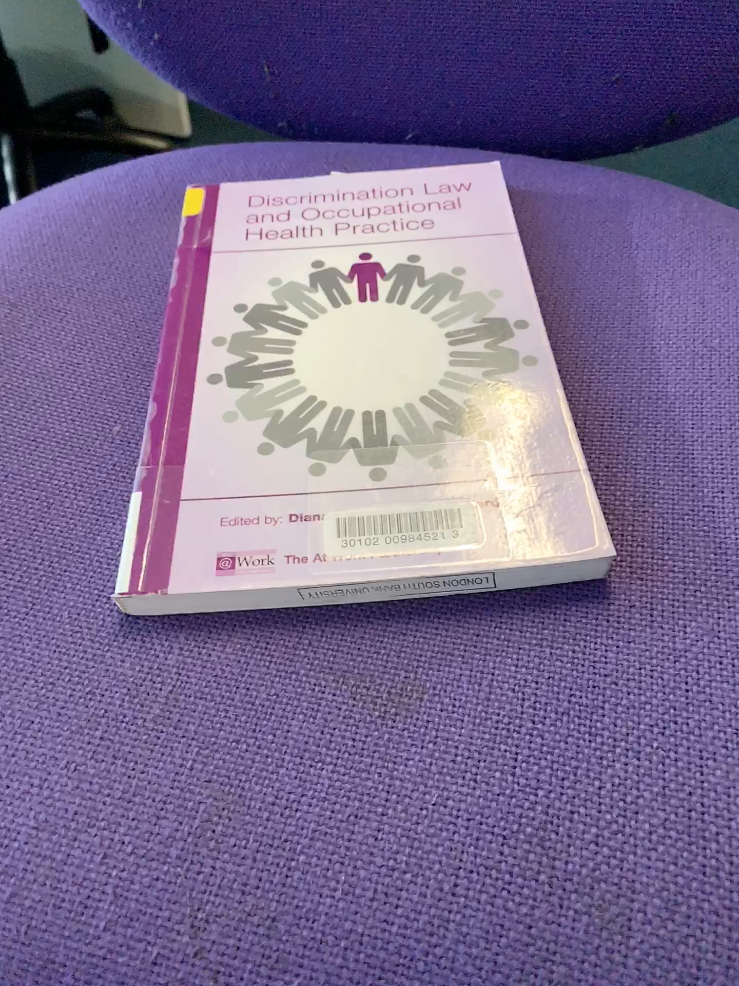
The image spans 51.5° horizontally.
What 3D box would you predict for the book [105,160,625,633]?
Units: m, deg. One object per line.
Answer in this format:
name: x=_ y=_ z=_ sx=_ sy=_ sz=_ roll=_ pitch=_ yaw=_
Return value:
book: x=-0.007 y=-0.060 z=0.313 sx=0.157 sy=0.022 sz=0.237 roll=-4 pitch=51 yaw=0
